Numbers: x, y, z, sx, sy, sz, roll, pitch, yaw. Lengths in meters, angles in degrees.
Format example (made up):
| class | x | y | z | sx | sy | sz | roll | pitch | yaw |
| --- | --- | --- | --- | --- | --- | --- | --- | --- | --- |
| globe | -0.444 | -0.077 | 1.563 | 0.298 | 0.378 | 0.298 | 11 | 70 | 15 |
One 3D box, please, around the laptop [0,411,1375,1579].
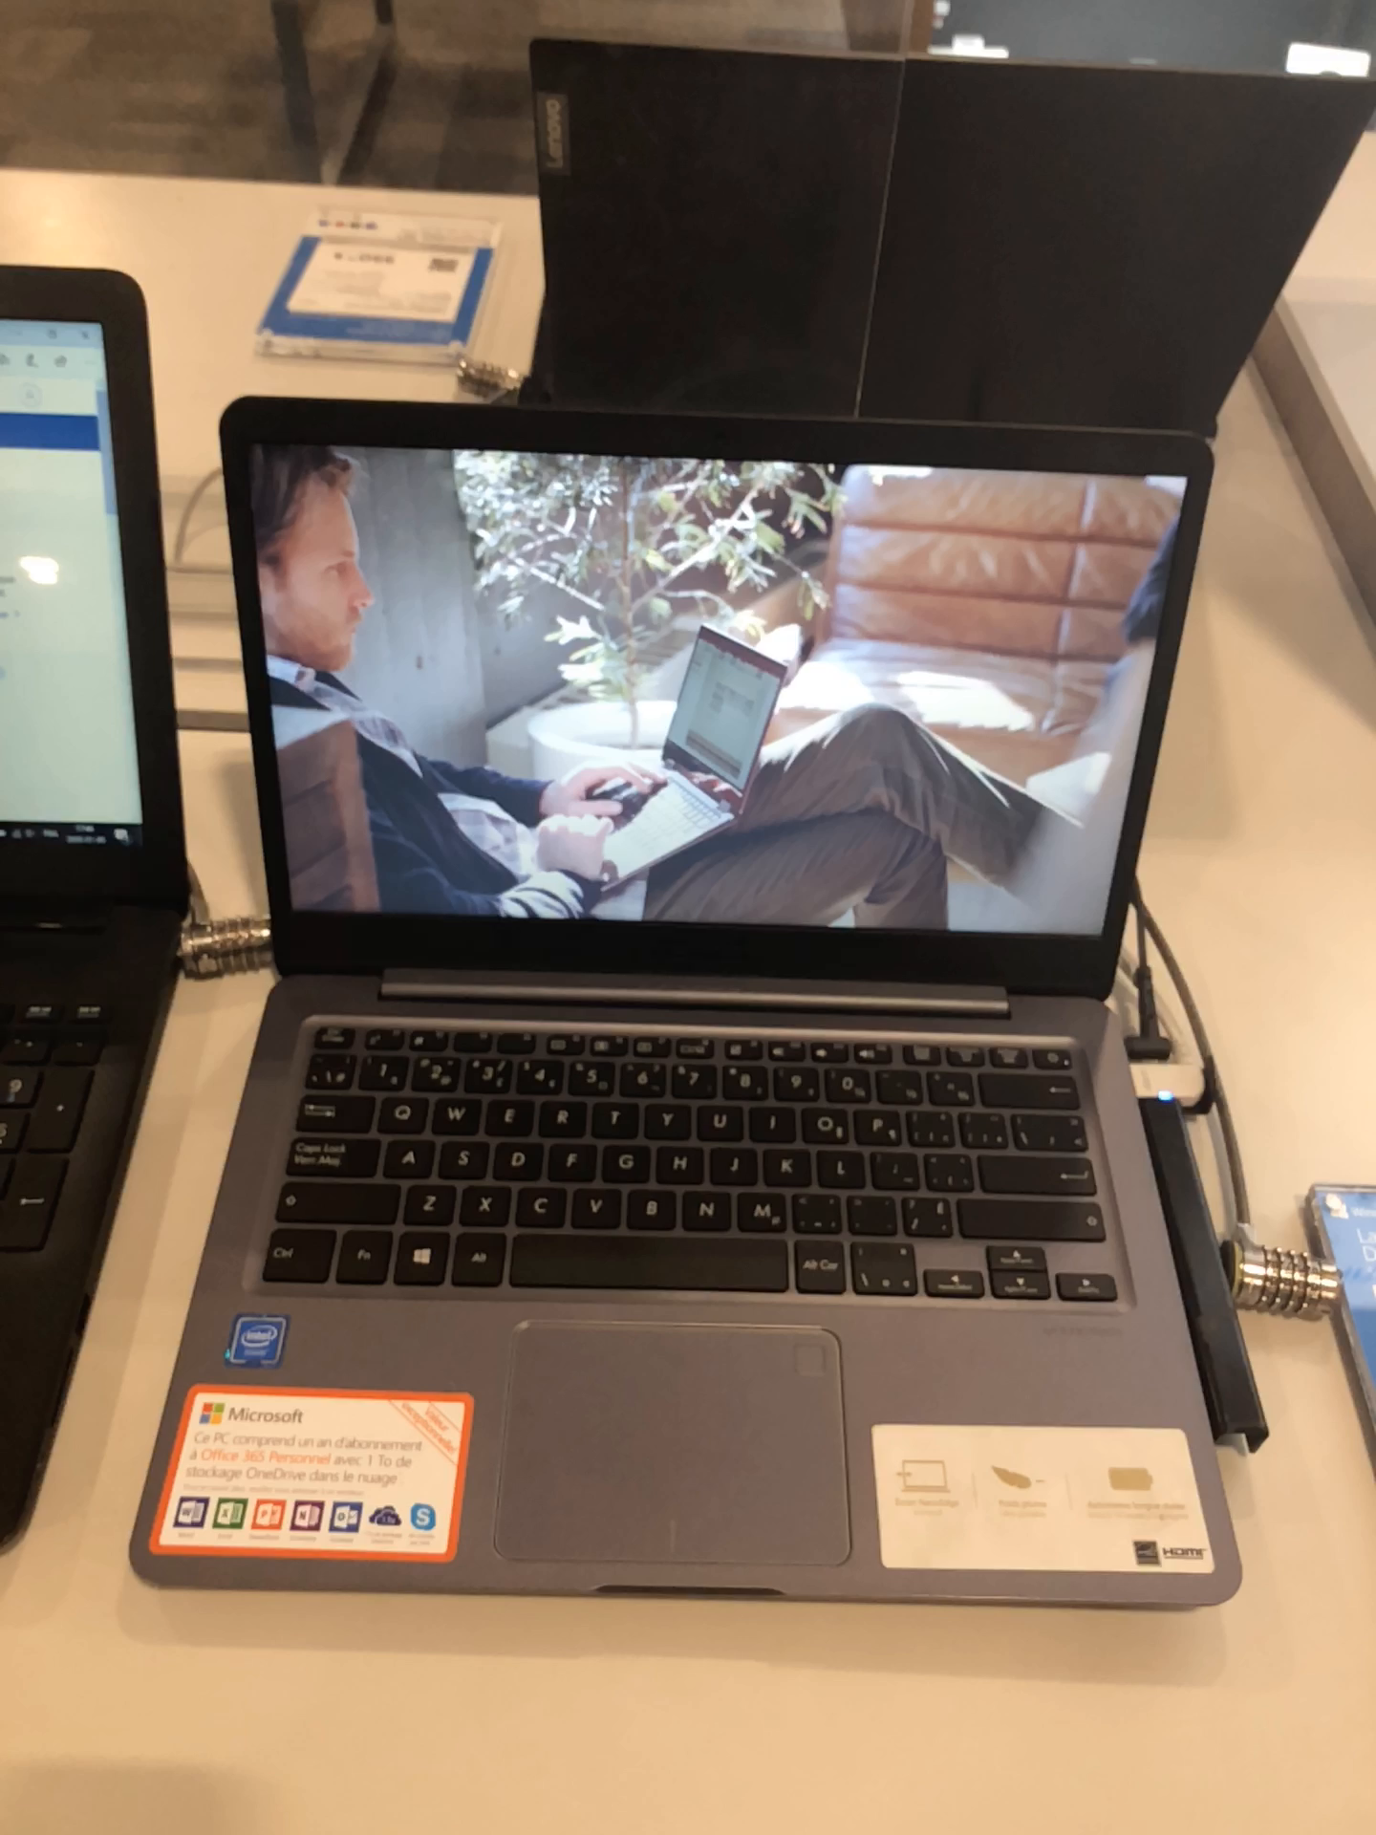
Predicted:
| class | x | y | z | sx | sy | sz | roll | pitch | yaw |
| --- | --- | --- | --- | --- | --- | --- | --- | --- | --- |
| laptop | 0.006 | 0.016 | 0.466 | 0.316 | 0.196 | 0.292 | 2 | 48 | -1 |
